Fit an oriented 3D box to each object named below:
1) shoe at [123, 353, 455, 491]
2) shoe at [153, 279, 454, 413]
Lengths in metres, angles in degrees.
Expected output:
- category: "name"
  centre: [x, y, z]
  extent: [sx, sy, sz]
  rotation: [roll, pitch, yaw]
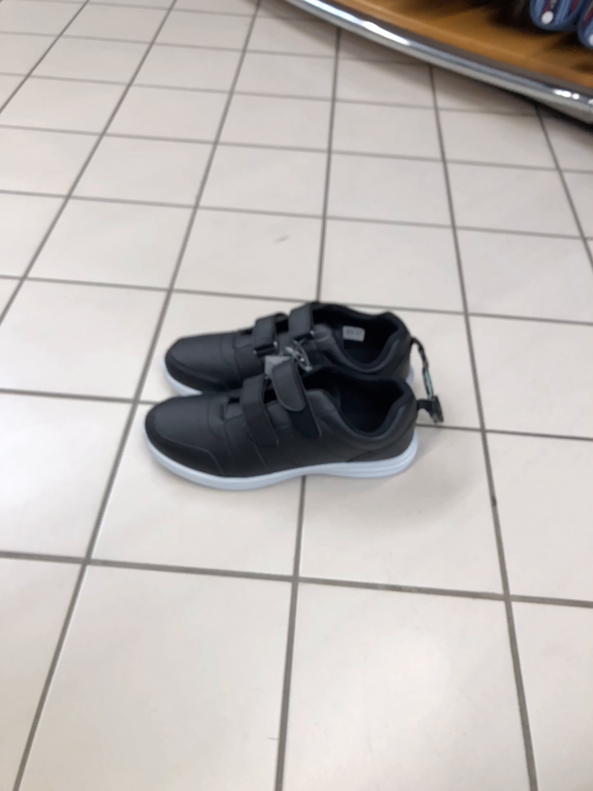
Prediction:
- category: "shoe"
  centre: [-0.008, 0.029, 0.686]
  extent: [0.310, 0.099, 0.101]
  rotation: [1, 48, -3]
- category: "shoe"
  centre: [0.007, -0.055, 0.749]
  extent: [0.310, 0.099, 0.101]
  rotation: [2, 48, -2]
